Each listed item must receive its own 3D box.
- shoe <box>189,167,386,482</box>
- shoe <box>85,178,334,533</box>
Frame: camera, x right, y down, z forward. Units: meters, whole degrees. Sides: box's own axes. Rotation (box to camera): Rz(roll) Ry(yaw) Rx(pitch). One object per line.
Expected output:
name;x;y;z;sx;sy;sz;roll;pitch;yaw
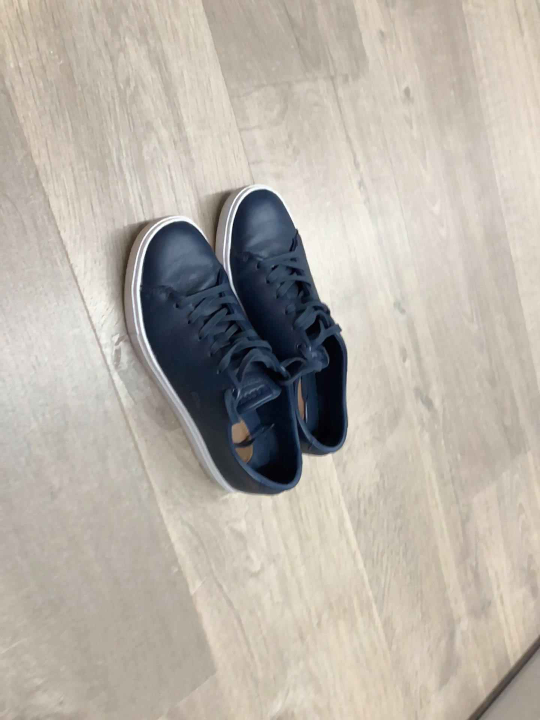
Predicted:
shoe;0.018;-0.032;0.530;0.100;0.080;0.247;-19;101;-34
shoe;-0.044;-0.004;0.478;0.100;0.080;0.247;-26;106;-32
